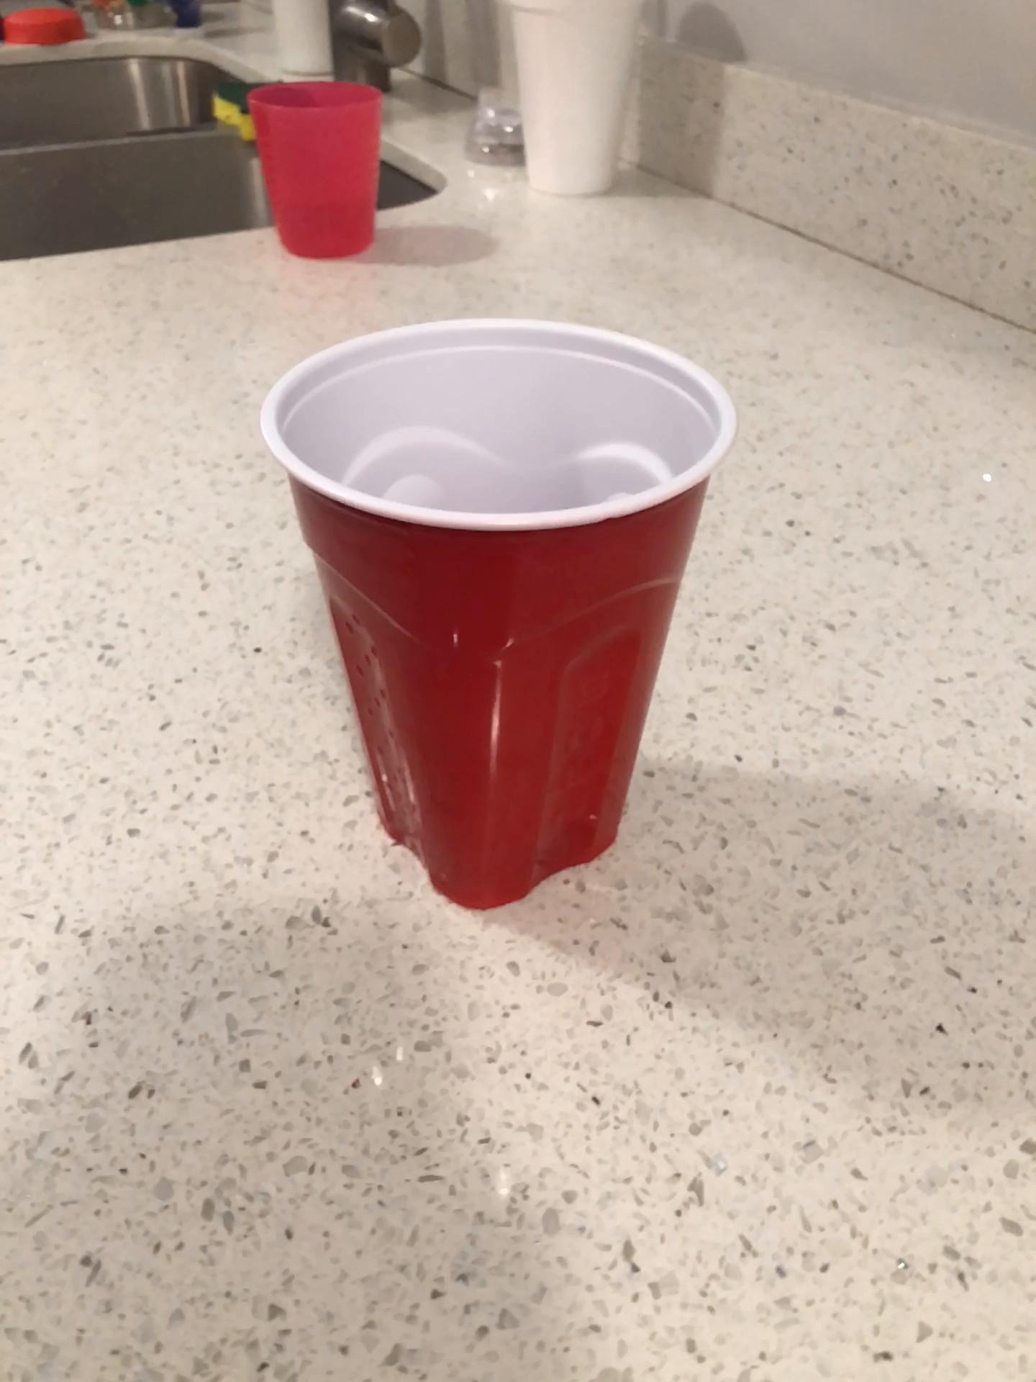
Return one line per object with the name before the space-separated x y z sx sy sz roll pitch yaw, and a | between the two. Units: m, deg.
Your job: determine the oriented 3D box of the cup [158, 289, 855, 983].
cup | -0.006 -0.021 0.259 0.102 0.092 0.101 0 37 0
